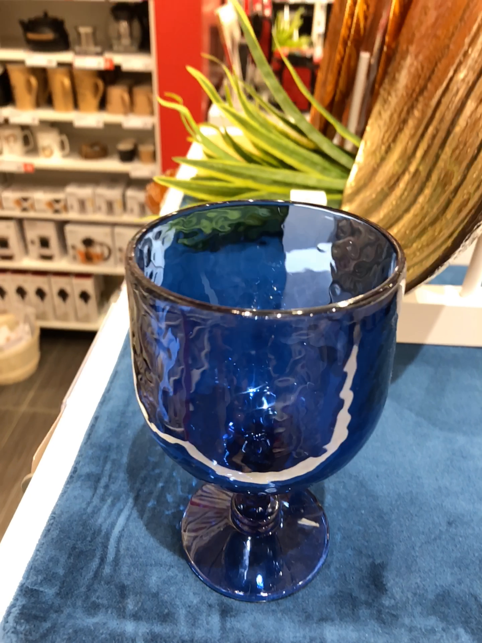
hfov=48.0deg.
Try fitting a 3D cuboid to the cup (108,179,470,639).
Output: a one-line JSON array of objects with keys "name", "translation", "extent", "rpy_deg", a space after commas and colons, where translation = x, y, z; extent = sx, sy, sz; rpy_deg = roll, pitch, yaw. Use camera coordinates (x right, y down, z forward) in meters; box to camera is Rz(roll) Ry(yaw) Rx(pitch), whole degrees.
[{"name": "cup", "translation": [0.005, 0.031, 0.201], "extent": [0.090, 0.140, 0.080], "rpy_deg": [-6, 34, -10]}]
